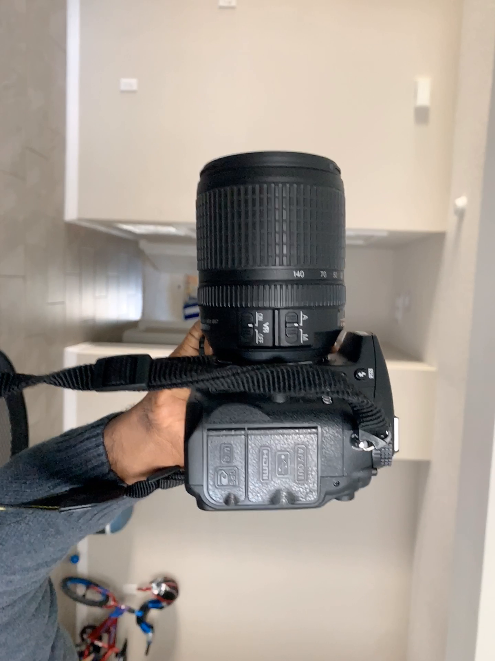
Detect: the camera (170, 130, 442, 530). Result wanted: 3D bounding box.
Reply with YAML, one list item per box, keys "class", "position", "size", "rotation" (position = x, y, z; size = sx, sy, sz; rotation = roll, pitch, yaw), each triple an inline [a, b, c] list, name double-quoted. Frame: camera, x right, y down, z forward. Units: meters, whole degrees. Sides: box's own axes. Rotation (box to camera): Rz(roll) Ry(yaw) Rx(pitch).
- class: "camera"
  position: [0.021, -0.006, 0.302]
  size: [0.160, 0.114, 0.170]
  rotation: [-119, -152, -83]
